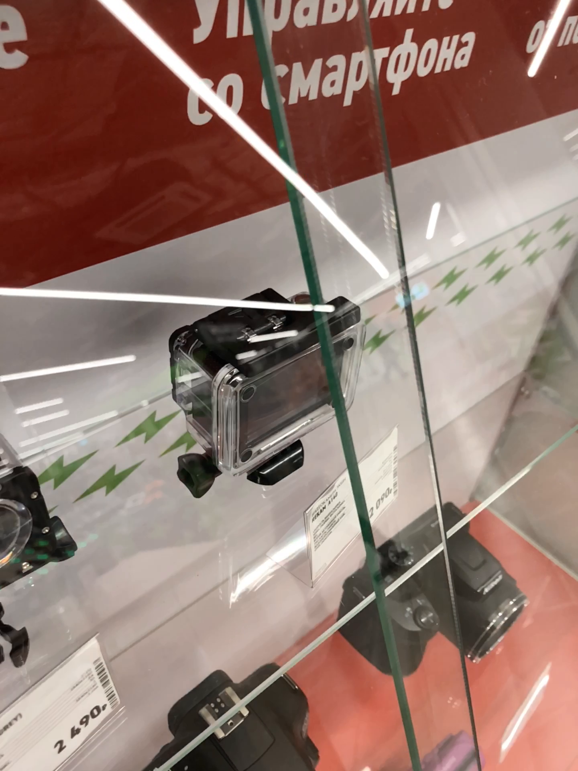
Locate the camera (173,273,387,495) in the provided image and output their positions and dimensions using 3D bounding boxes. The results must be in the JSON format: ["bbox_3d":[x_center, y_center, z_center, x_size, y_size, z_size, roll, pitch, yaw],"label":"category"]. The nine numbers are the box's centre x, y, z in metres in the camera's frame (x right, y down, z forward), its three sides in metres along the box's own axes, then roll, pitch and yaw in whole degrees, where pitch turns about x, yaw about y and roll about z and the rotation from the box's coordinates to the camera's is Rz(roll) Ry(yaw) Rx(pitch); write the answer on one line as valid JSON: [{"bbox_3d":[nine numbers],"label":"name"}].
[{"bbox_3d":[-0.004,-0.003,0.265,0.075,0.053,0.040,-29,52,-34],"label":"camera"}]
